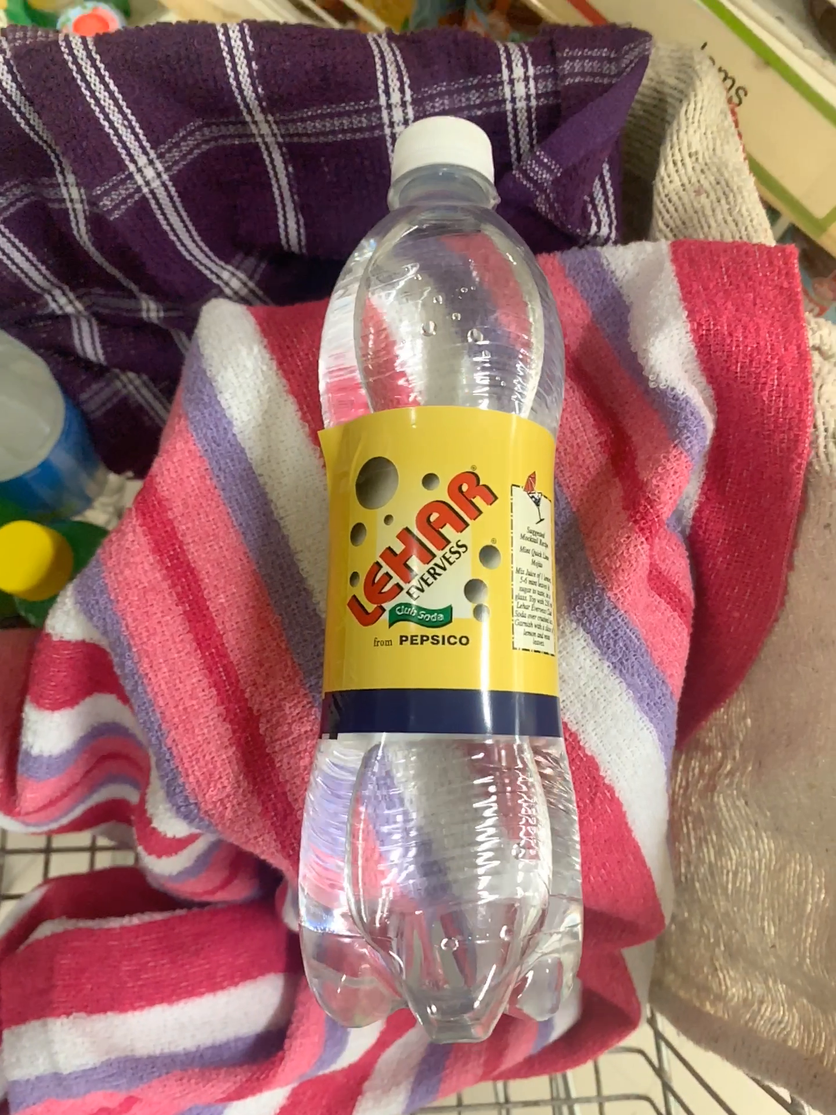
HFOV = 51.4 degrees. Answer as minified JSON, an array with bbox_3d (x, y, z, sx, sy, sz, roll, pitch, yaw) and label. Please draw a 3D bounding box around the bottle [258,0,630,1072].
[{"bbox_3d":[0.004,-0.013,0.224,0.070,0.070,0.240,1,77,-3],"label":"bottle"}]
